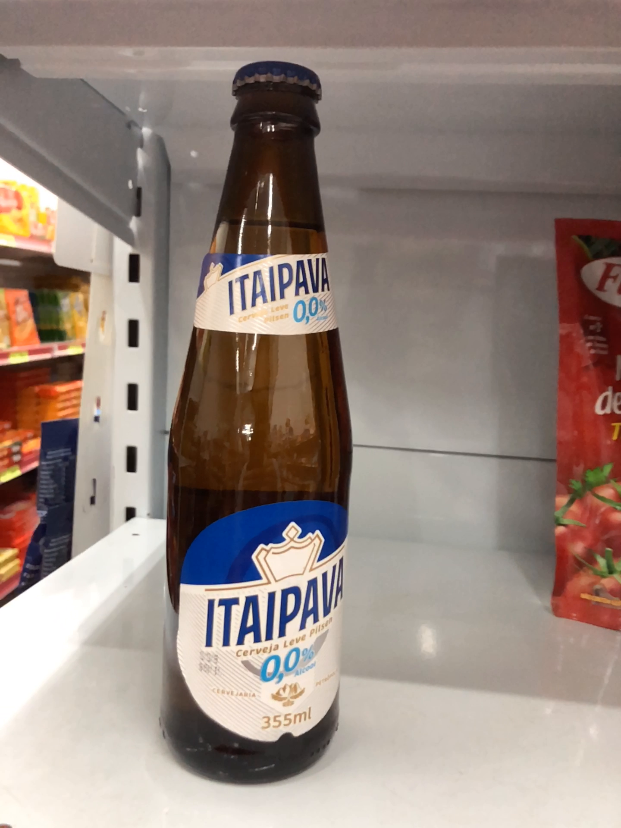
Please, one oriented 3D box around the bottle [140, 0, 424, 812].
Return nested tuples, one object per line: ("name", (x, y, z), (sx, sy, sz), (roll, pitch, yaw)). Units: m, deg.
("bottle", (-0.015, -0.006, 0.204), (0.060, 0.209, 0.060), (2, 8, 0))
